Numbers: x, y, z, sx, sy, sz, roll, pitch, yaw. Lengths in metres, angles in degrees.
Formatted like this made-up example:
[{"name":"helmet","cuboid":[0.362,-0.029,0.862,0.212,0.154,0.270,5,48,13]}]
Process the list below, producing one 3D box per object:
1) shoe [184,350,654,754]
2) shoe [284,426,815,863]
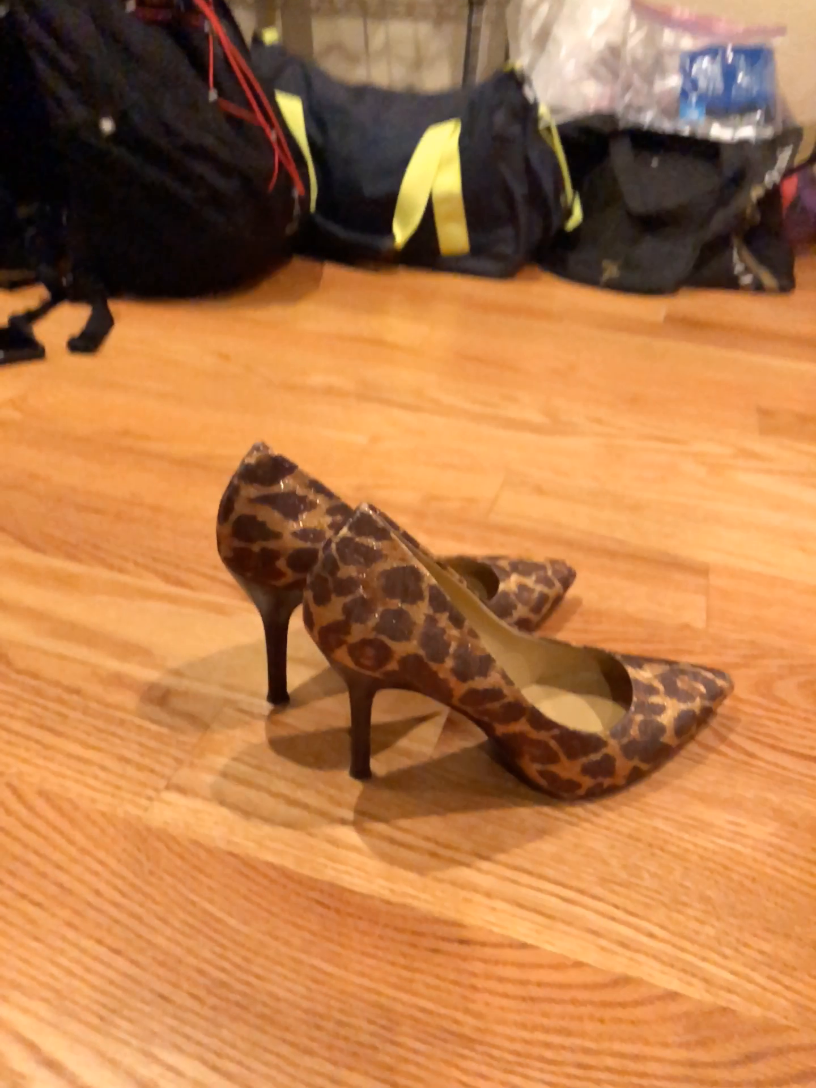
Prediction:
[{"name":"shoe","cuboid":[0.006,-0.006,0.472,0.219,0.144,0.084,-15,35,-30]},{"name":"shoe","cuboid":[0.061,0.037,0.406,0.219,0.144,0.084,-6,32,-19]}]
